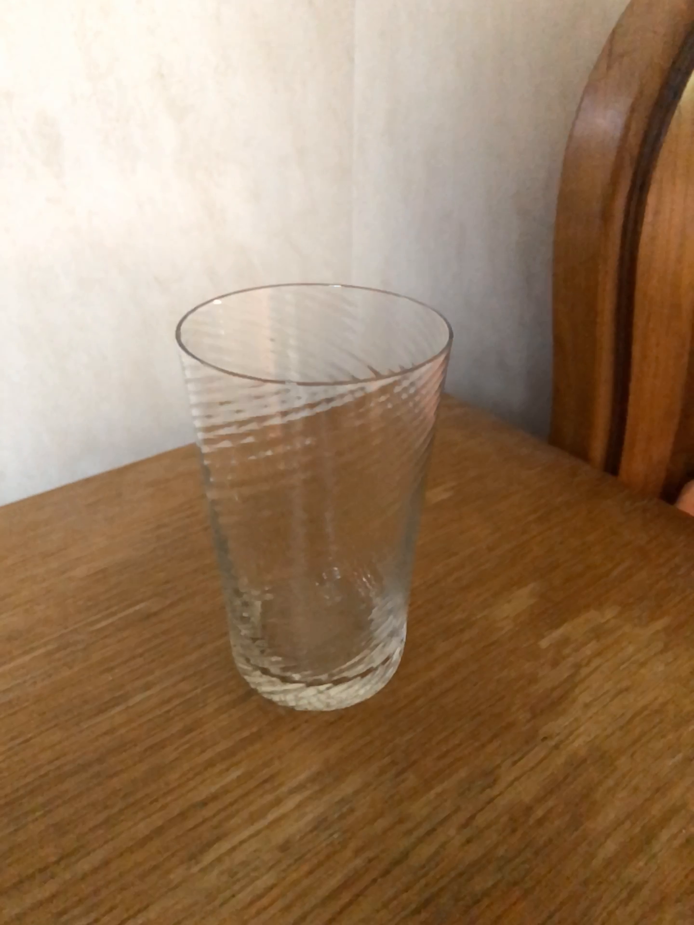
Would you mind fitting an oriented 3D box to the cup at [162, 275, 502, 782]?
[{"bbox_3d":[-0.010,0.015,0.237,0.070,0.119,0.080,-9,30,-17],"label":"cup"}]
